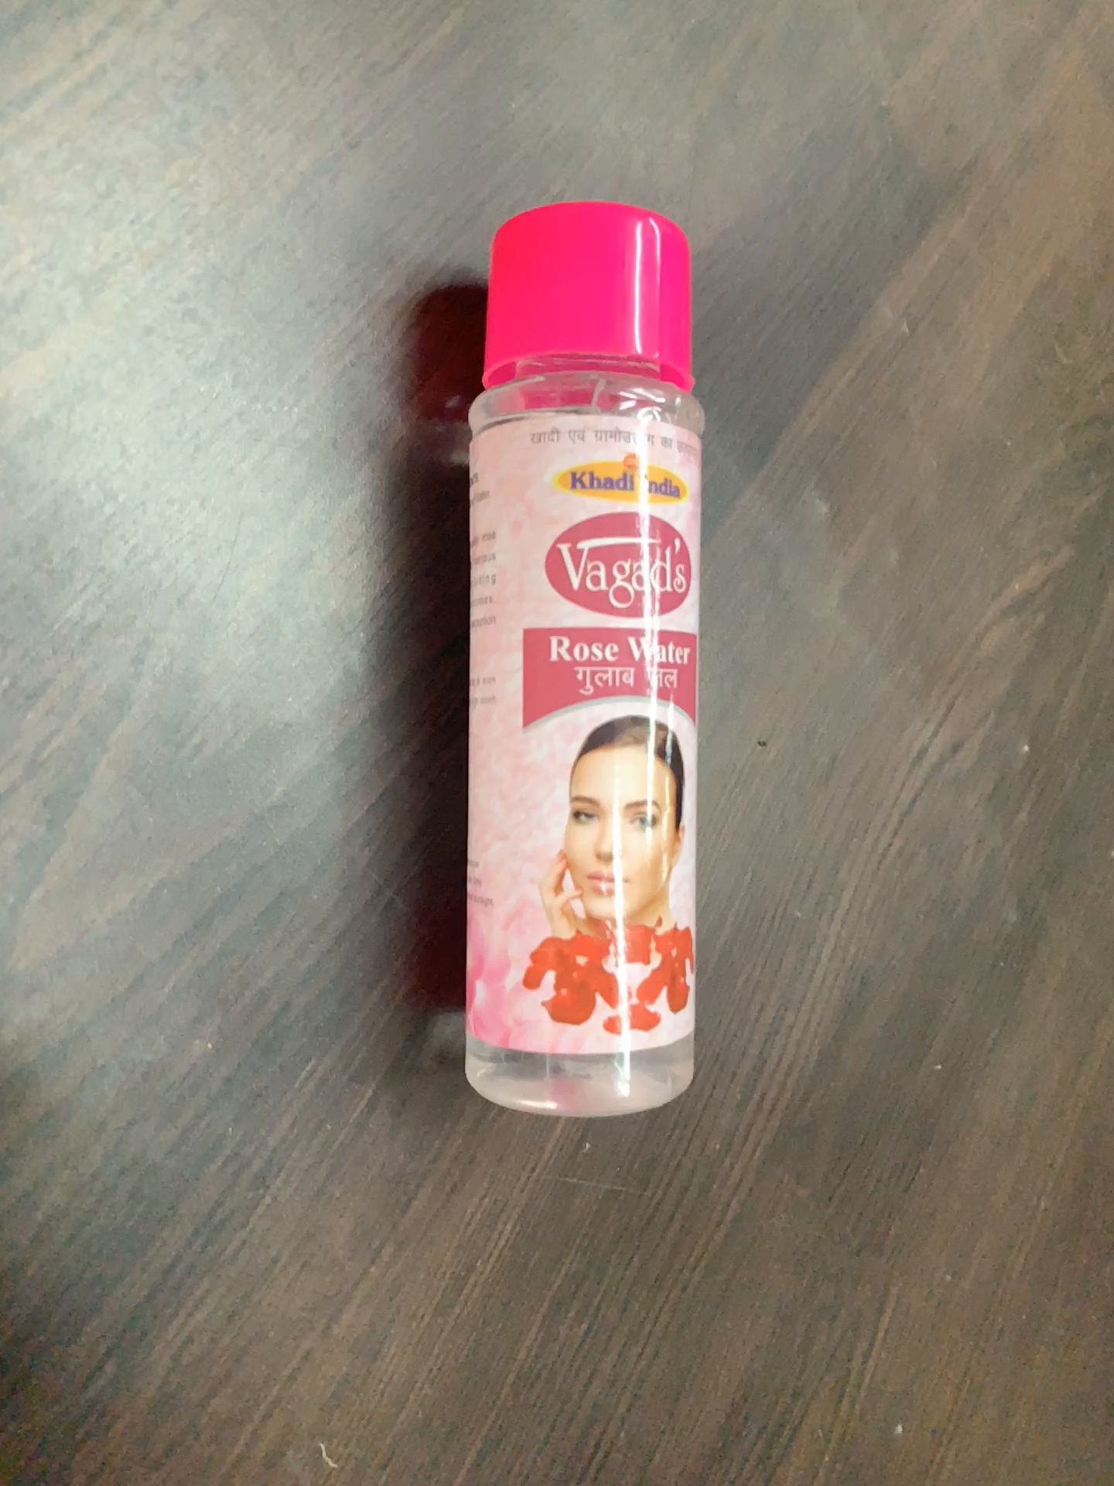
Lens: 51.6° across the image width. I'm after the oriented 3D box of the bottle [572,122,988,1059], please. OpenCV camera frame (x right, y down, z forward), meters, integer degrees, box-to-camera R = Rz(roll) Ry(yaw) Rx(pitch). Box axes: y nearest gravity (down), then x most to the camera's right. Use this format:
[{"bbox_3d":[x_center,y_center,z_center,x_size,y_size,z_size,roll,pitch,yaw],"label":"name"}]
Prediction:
[{"bbox_3d":[0.038,-0.022,0.203,0.050,0.040,0.140,2,92,-33],"label":"bottle"}]
